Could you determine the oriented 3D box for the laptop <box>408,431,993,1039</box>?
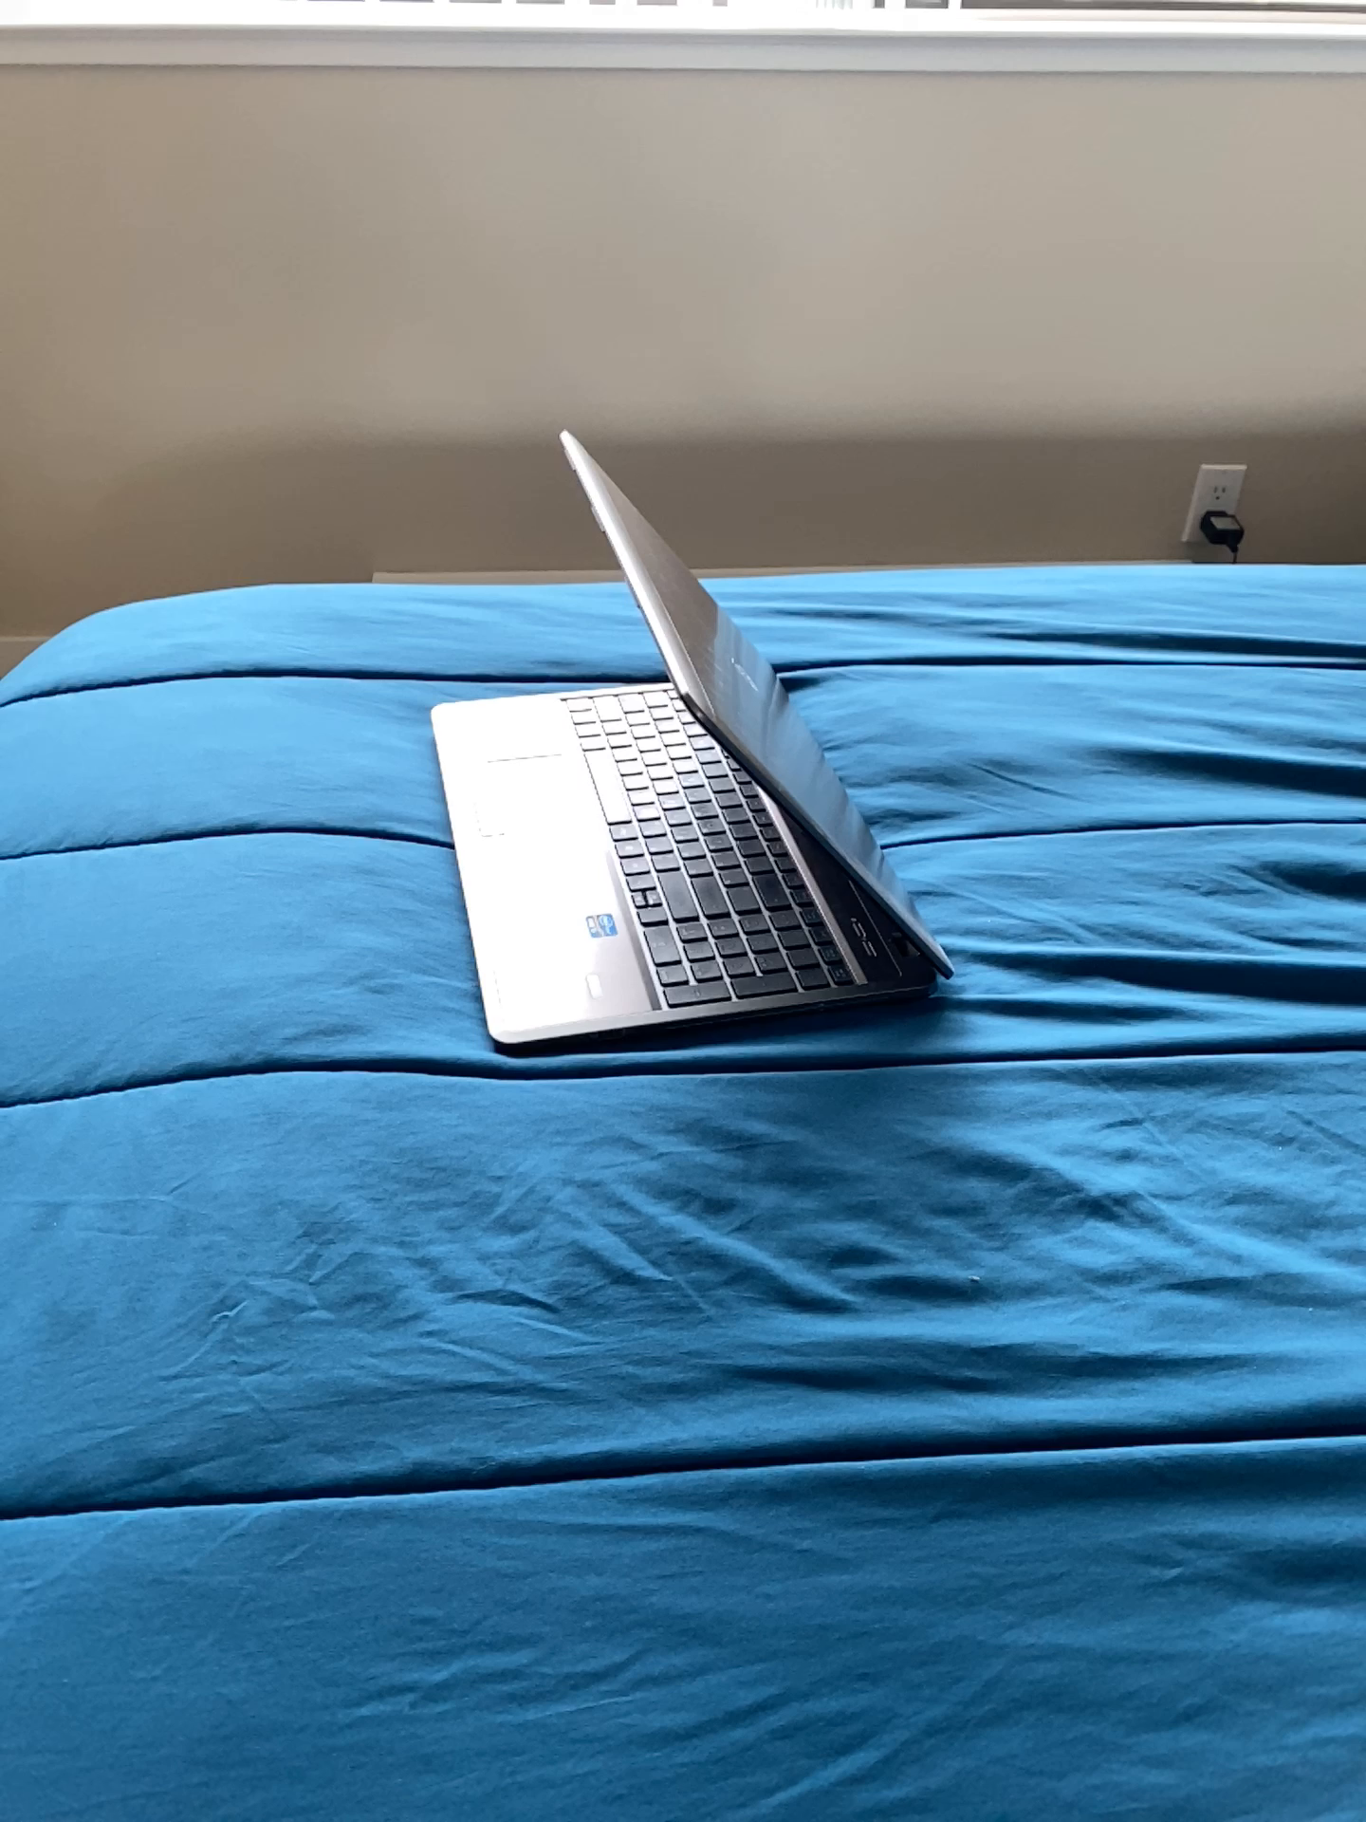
[{"bbox_3d":[-0.017,-0.132,0.843,0.255,0.192,0.371,-6,37,-12],"label":"laptop"}]
